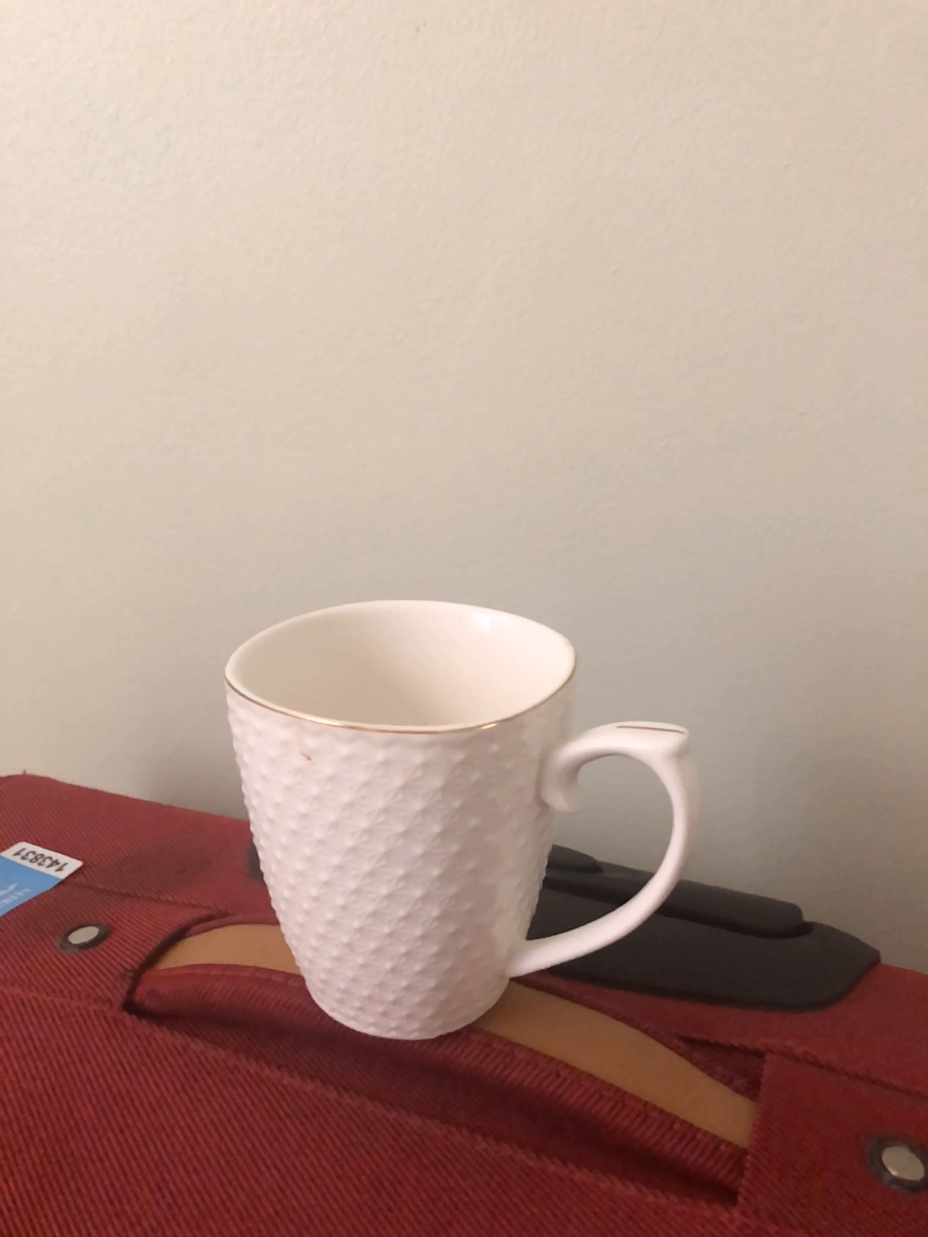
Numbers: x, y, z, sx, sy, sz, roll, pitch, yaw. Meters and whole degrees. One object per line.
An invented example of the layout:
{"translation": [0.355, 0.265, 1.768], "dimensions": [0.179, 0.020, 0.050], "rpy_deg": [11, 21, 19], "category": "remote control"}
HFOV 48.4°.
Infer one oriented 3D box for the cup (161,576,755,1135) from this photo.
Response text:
{"translation": [0.006, 0.045, 0.235], "dimensions": [0.111, 0.084, 0.075], "rpy_deg": [4, 22, 15], "category": "cup"}
